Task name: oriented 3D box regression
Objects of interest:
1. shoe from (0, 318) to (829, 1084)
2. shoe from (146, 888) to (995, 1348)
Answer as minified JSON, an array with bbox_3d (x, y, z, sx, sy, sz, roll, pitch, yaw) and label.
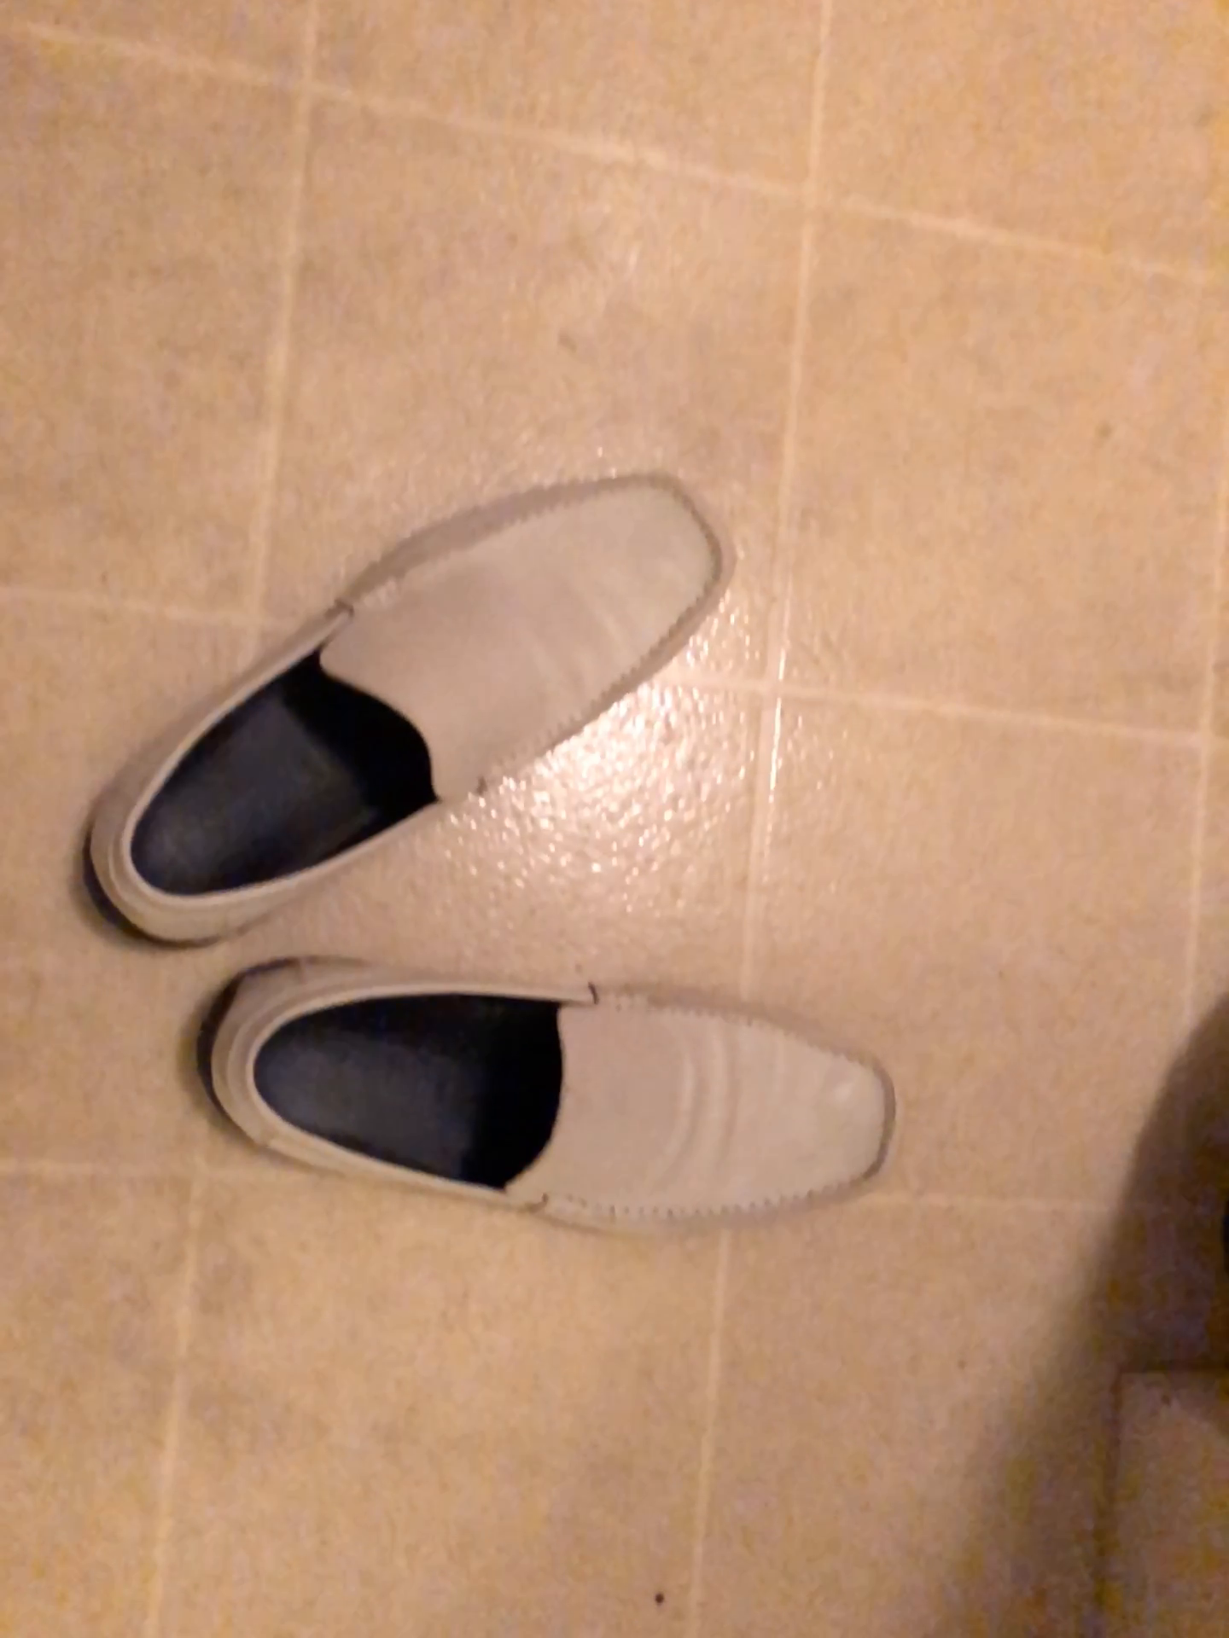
[{"bbox_3d":[-0.083,-0.046,0.516,0.307,0.097,0.110,-37,97,-11],"label":"shoe"},{"bbox_3d":[-0.015,0.113,0.527,0.289,0.097,0.110,13,86,-12],"label":"shoe"}]
